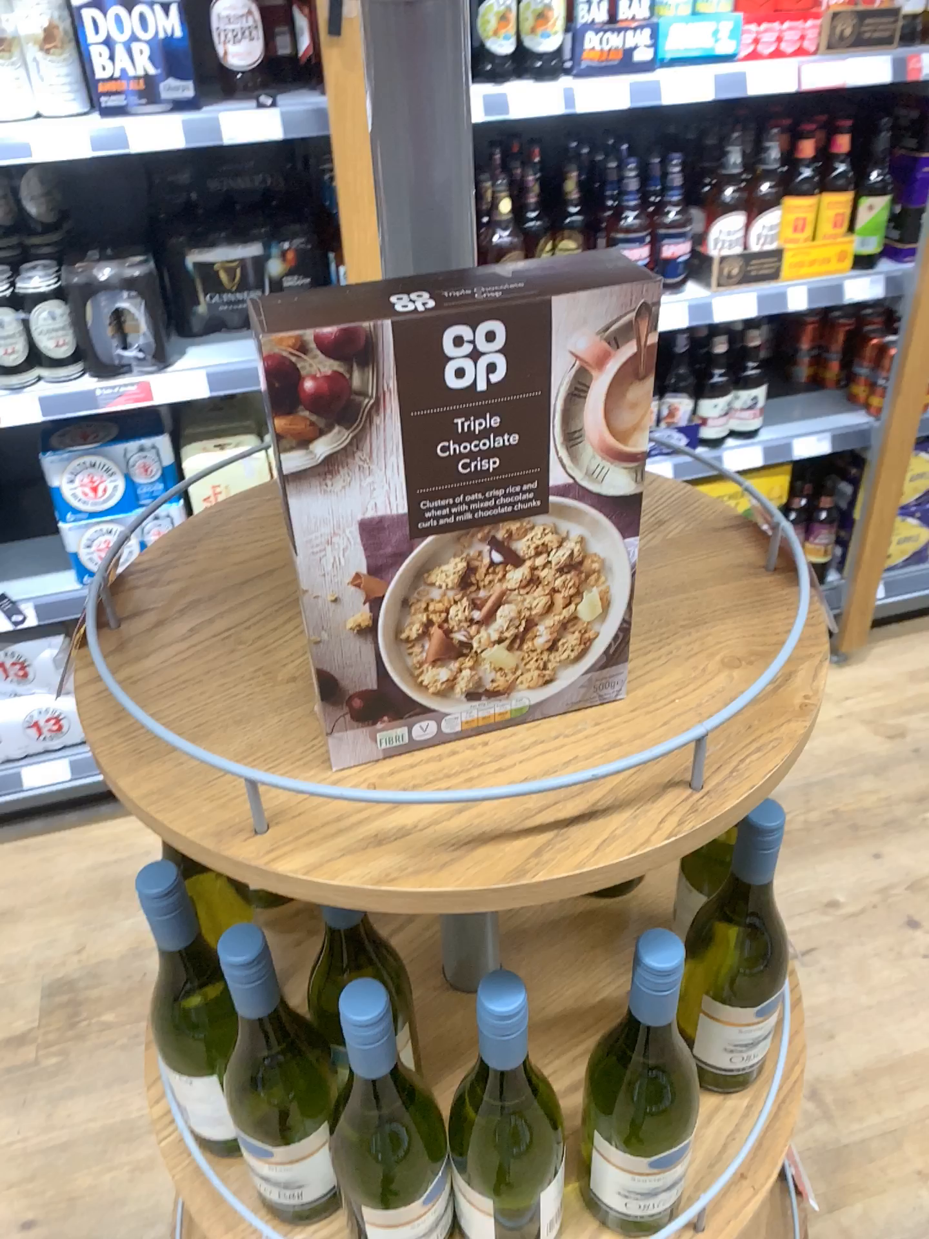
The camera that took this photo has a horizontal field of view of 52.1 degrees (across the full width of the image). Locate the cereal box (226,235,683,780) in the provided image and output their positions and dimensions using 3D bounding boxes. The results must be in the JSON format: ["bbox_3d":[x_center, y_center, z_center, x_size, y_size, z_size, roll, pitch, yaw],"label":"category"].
[{"bbox_3d":[0.001,-0.047,0.480,0.190,0.247,0.050,-12,37,-13],"label":"cereal box"}]
